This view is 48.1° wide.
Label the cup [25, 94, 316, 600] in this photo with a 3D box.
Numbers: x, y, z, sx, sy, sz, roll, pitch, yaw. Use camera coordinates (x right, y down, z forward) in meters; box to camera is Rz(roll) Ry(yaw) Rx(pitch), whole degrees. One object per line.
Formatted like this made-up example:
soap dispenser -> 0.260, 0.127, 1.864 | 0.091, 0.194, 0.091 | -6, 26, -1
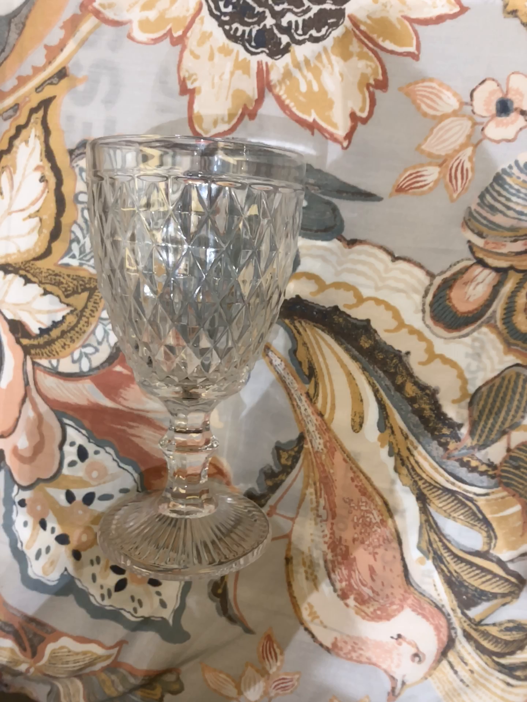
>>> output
cup -> -0.033, -0.004, 0.245 | 0.090, 0.080, 0.170 | 6, 98, 8
